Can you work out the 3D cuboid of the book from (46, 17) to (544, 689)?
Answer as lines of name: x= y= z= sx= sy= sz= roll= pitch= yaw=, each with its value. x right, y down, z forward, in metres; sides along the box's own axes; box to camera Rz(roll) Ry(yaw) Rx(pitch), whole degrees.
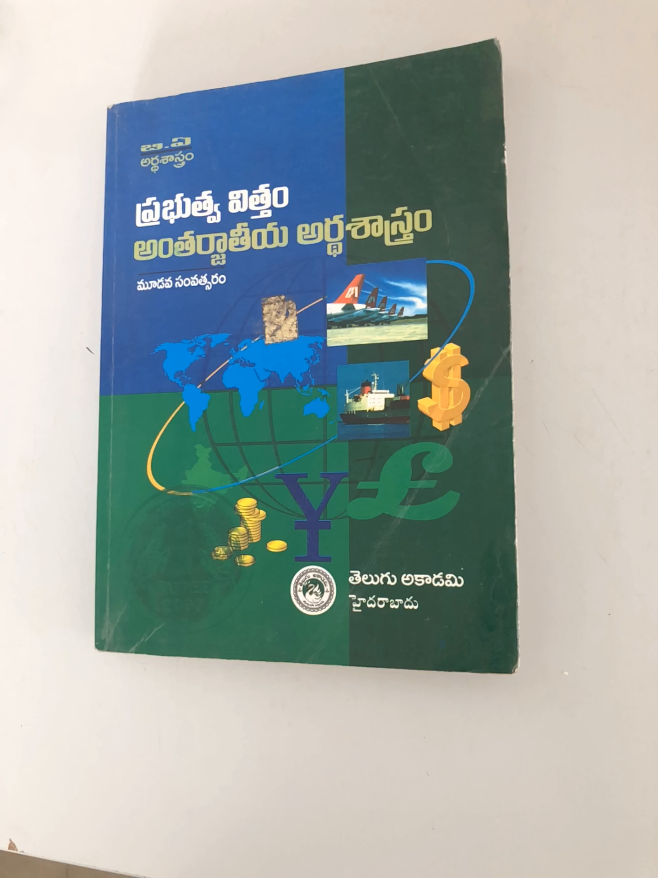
book: x=-0.014 y=-0.031 z=0.304 sx=0.190 sy=0.050 sz=0.240 roll=-2 pitch=83 yaw=15
